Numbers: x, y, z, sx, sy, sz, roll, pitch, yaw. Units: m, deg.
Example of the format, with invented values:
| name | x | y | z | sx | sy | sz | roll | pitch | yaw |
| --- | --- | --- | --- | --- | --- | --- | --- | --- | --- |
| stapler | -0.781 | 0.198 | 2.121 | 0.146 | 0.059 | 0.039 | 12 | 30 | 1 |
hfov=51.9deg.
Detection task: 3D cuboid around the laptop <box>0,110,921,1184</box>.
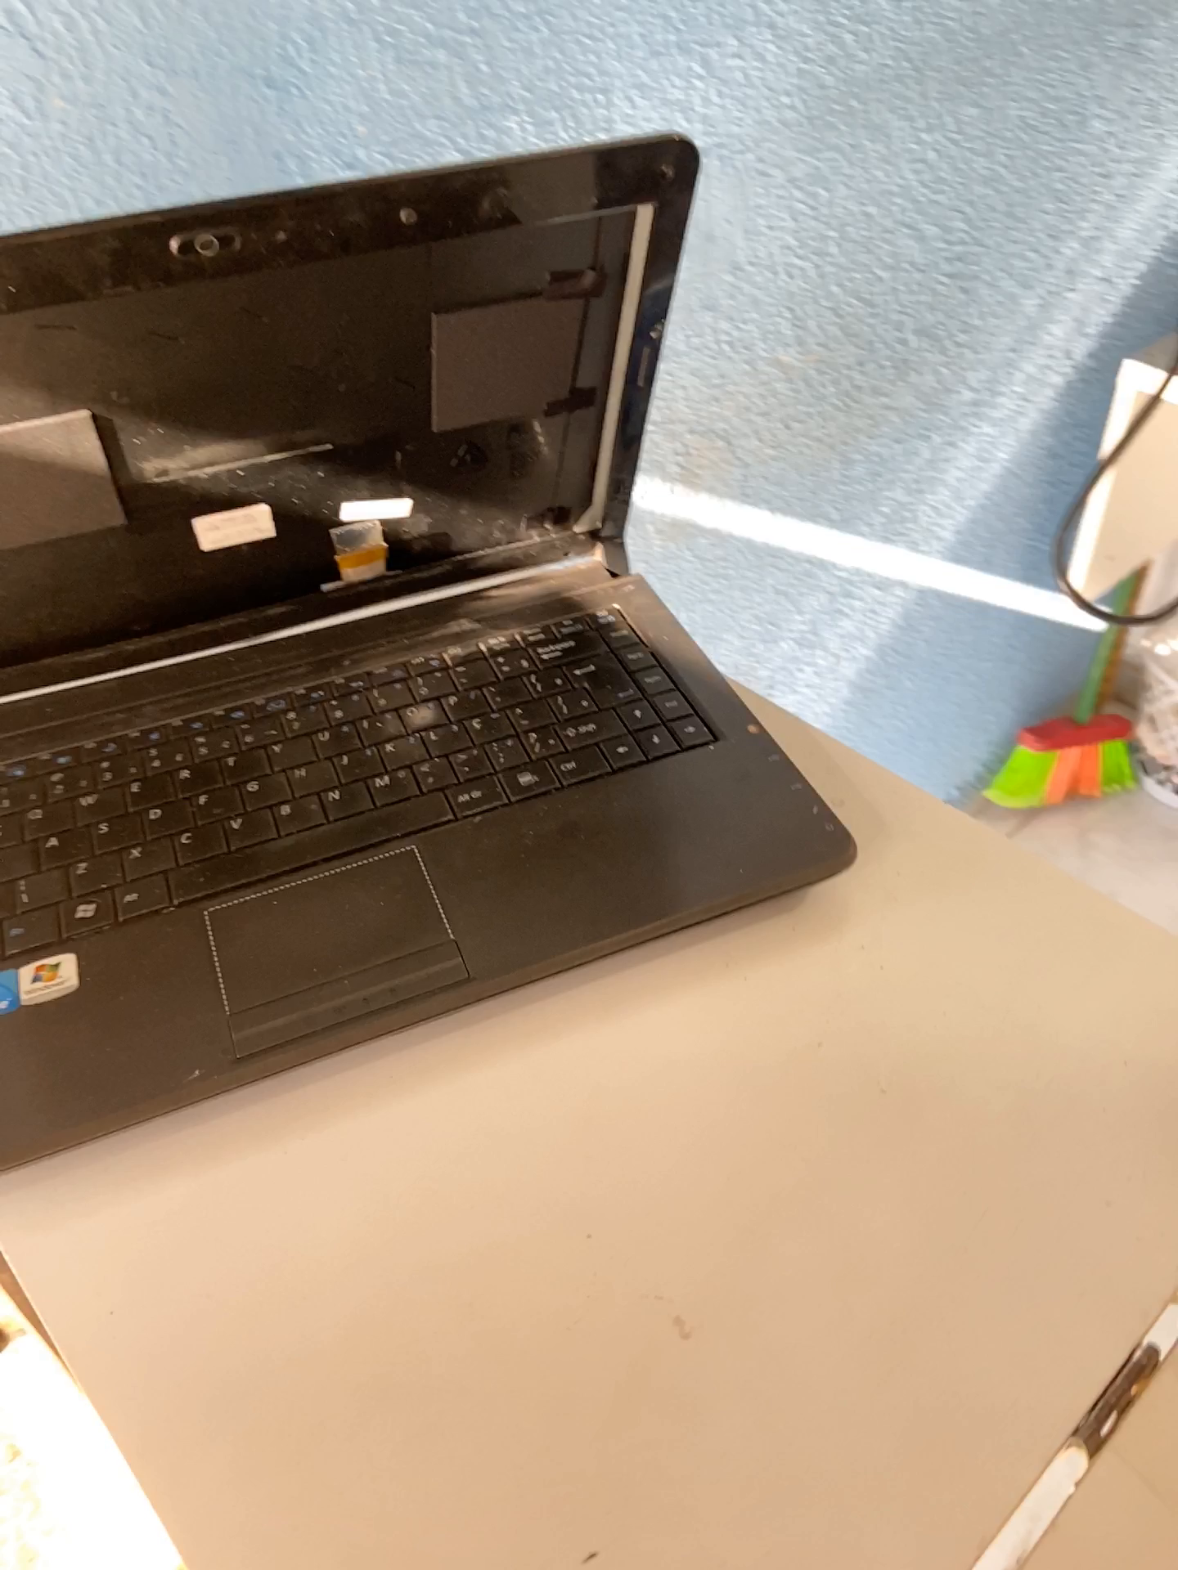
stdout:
| name | x | y | z | sx | sy | sz | roll | pitch | yaw |
| --- | --- | --- | --- | --- | --- | --- | --- | --- | --- |
| laptop | -0.100 | -0.068 | 0.411 | 0.331 | 0.206 | 0.206 | -17 | 44 | -15 |
